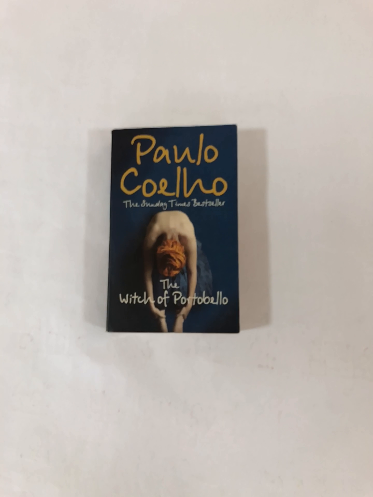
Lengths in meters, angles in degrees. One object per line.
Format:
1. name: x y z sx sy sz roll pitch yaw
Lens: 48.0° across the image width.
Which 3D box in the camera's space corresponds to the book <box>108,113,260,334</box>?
1. book: -0.002 -0.021 0.355 0.120 0.030 0.180 -1 82 4
